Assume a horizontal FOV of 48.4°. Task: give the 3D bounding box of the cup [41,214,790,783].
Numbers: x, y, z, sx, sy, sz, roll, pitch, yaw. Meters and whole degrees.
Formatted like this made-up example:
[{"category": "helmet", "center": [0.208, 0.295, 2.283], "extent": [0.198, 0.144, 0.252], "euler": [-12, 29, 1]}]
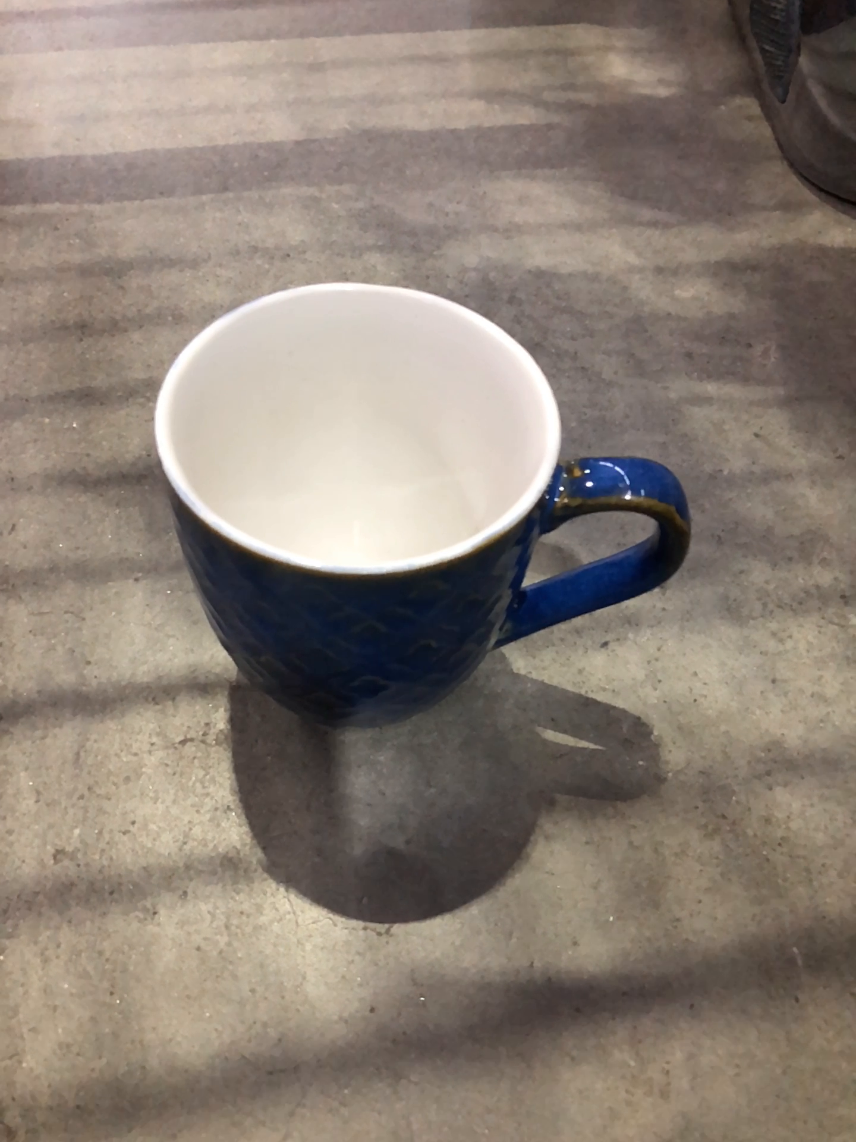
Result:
[{"category": "cup", "center": [0.000, -0.013, 0.191], "extent": [0.110, 0.070, 0.080], "euler": [4, 54, 1]}]
